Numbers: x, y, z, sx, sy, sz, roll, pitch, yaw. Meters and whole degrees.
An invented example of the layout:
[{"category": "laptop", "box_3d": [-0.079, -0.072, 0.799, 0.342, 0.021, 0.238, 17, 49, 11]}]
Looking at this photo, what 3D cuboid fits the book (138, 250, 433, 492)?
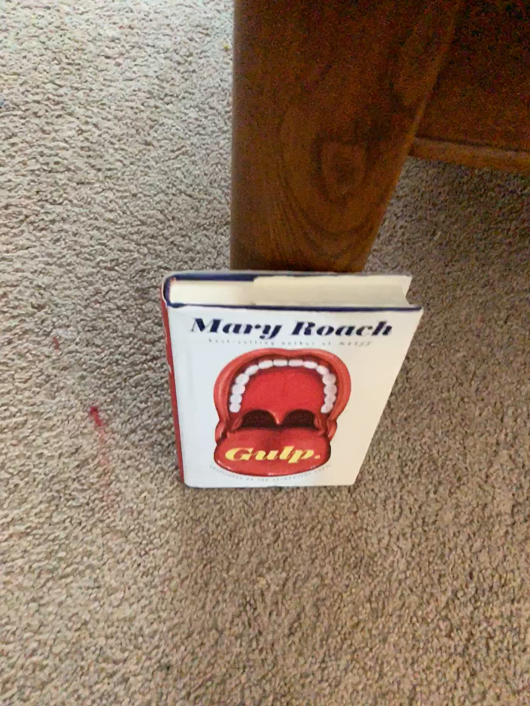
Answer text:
[{"category": "book", "box_3d": [0.005, 0.031, 0.394, 0.160, 0.229, 0.040, 1, 50, -4]}]
